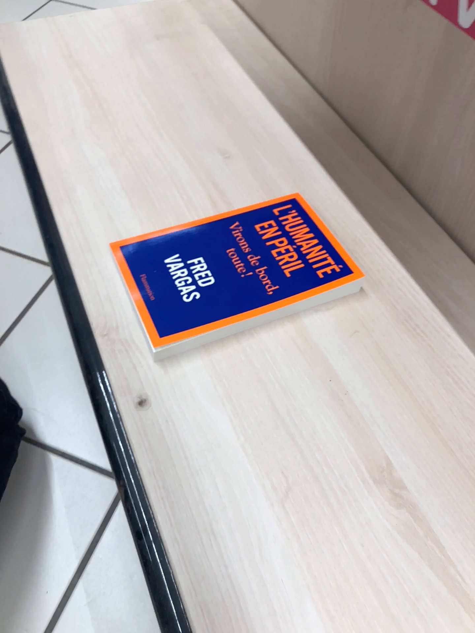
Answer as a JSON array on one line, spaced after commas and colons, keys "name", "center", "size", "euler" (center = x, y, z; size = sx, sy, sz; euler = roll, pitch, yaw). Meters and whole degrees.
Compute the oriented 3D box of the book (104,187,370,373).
[{"name": "book", "center": [-0.003, -0.044, 0.496], "size": [0.208, 0.030, 0.137], "euler": [-19, 57, -16]}]
